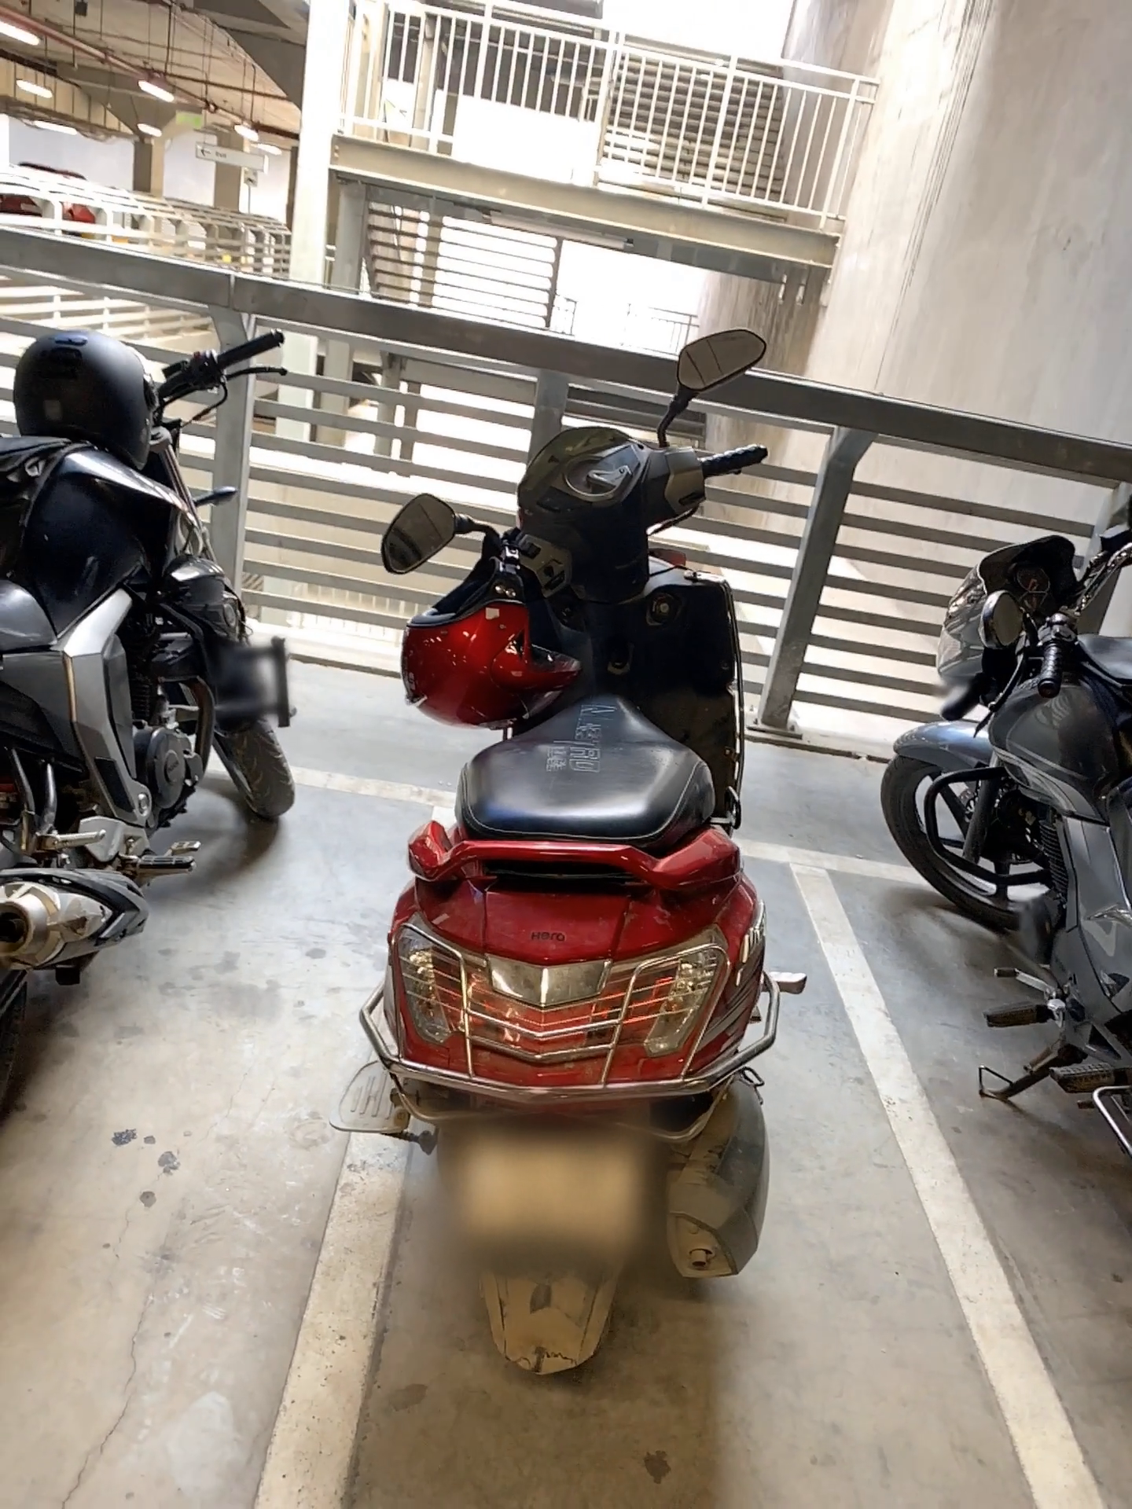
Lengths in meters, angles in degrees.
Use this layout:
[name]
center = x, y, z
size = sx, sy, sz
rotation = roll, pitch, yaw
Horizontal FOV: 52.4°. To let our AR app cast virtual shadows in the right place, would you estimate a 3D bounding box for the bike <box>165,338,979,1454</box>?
[bike]
center = -0.071, -0.032, 2.159
size = 0.724, 1.165, 1.858
rotation = 9, 23, -5
